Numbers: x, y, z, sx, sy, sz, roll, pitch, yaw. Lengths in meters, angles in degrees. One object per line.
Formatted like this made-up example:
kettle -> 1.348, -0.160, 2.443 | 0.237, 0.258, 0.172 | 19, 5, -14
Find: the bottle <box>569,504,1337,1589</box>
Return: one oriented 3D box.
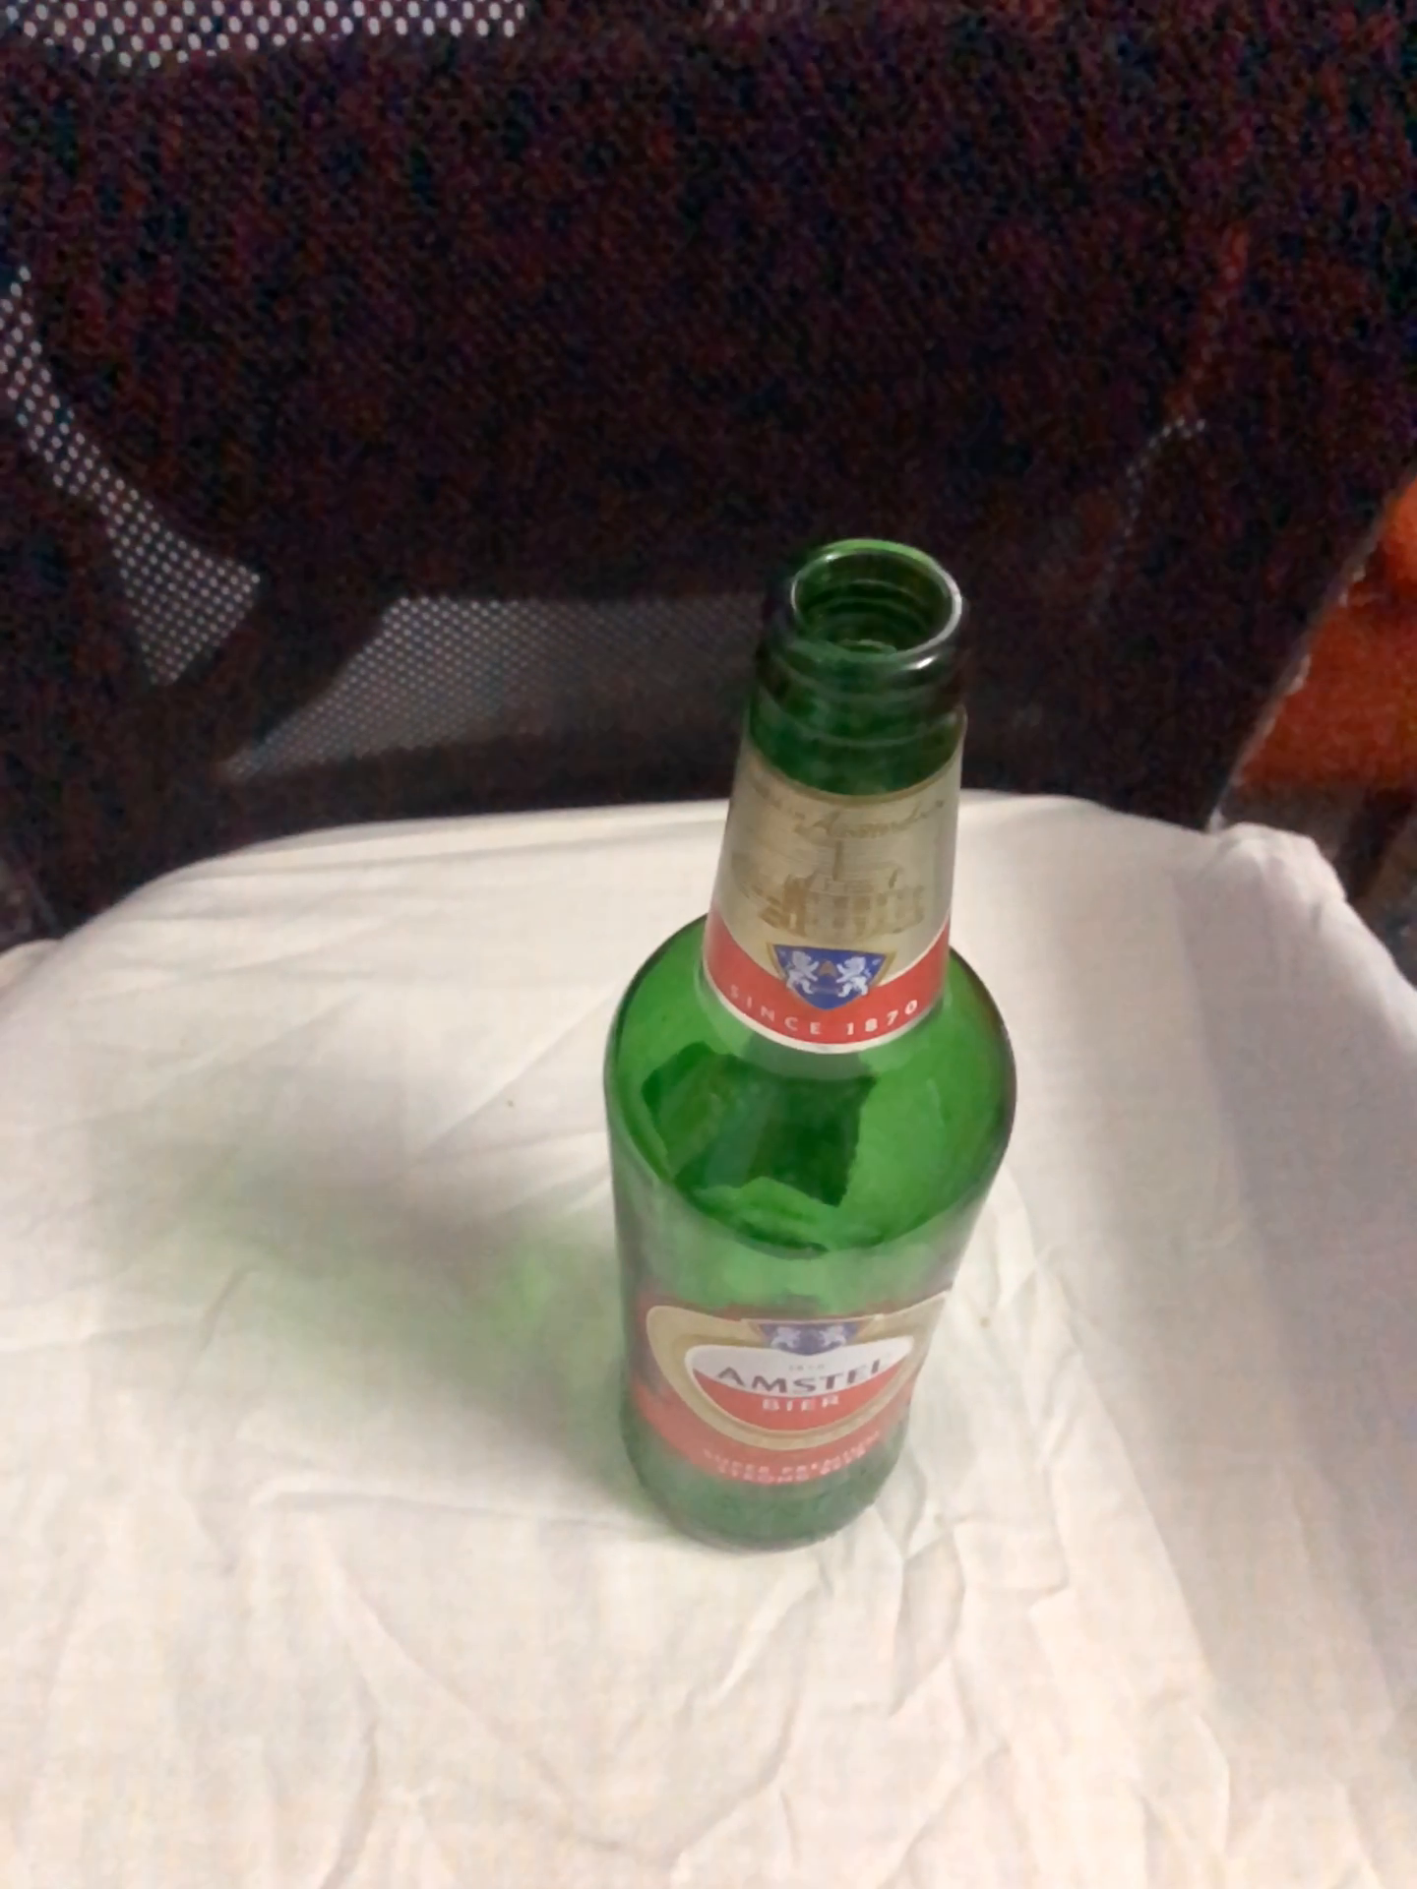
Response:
bottle -> 0.017, 0.050, 0.297 | 0.080, 0.279, 0.060 | -3, 54, -7
